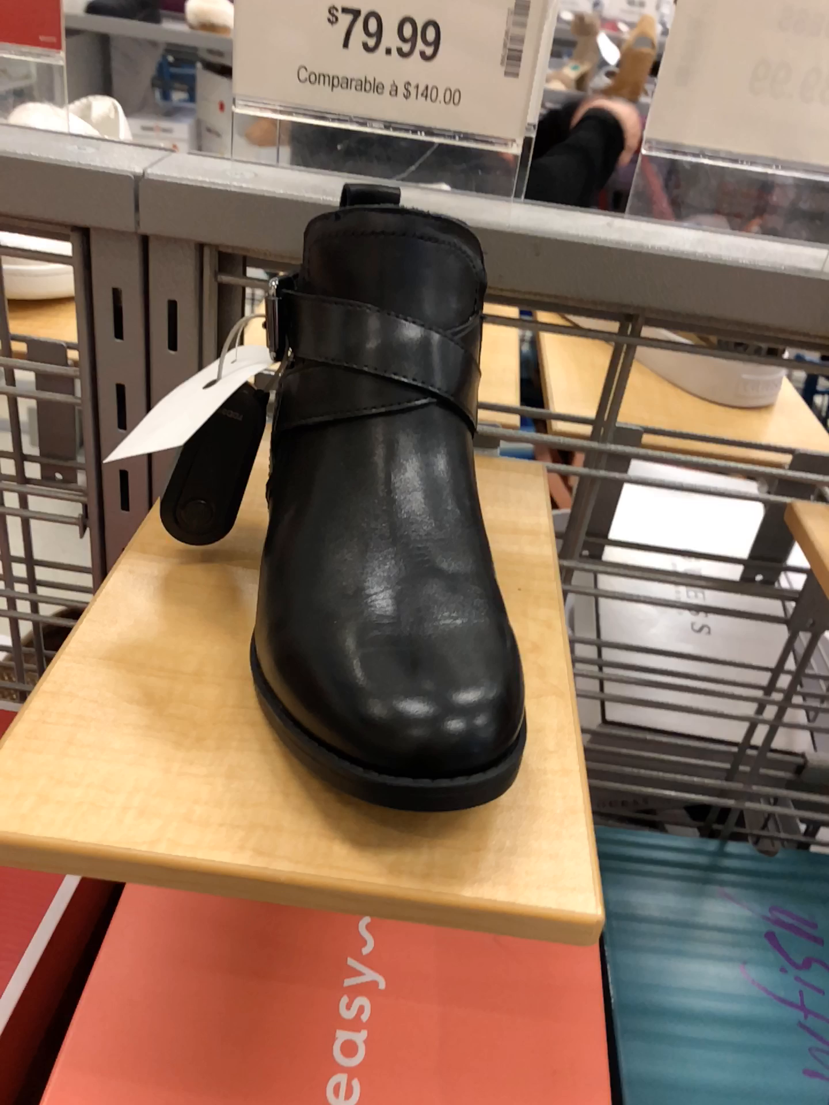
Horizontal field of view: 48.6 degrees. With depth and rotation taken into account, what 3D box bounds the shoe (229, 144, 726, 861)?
[{"bbox_3d":[-0.010,-0.037,0.302,0.090,0.133,0.222,1,33,-14],"label":"shoe"}]
